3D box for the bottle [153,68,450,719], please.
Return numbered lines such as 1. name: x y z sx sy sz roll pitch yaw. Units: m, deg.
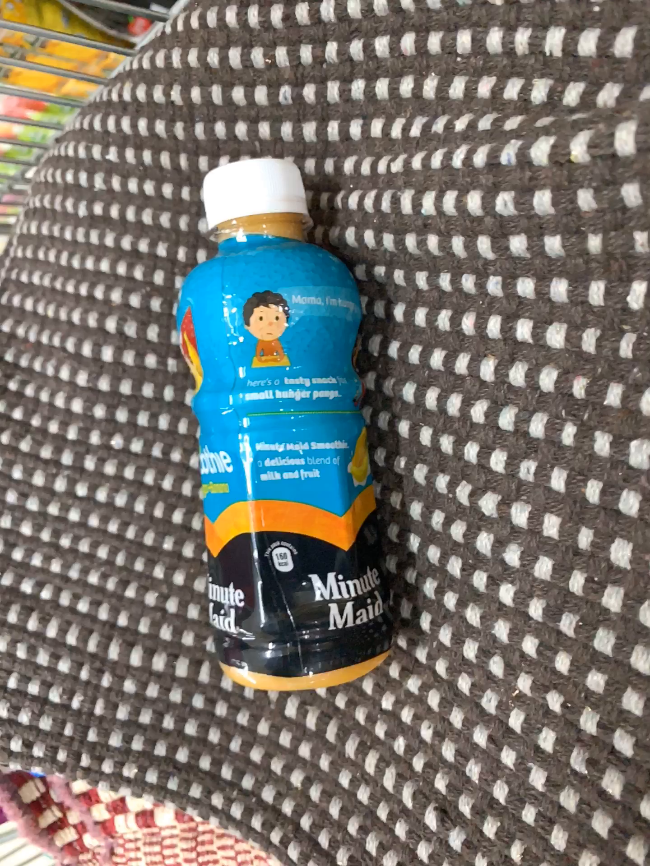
1. bottle: -0.008 -0.009 0.202 0.060 0.040 0.160 -5 92 45
